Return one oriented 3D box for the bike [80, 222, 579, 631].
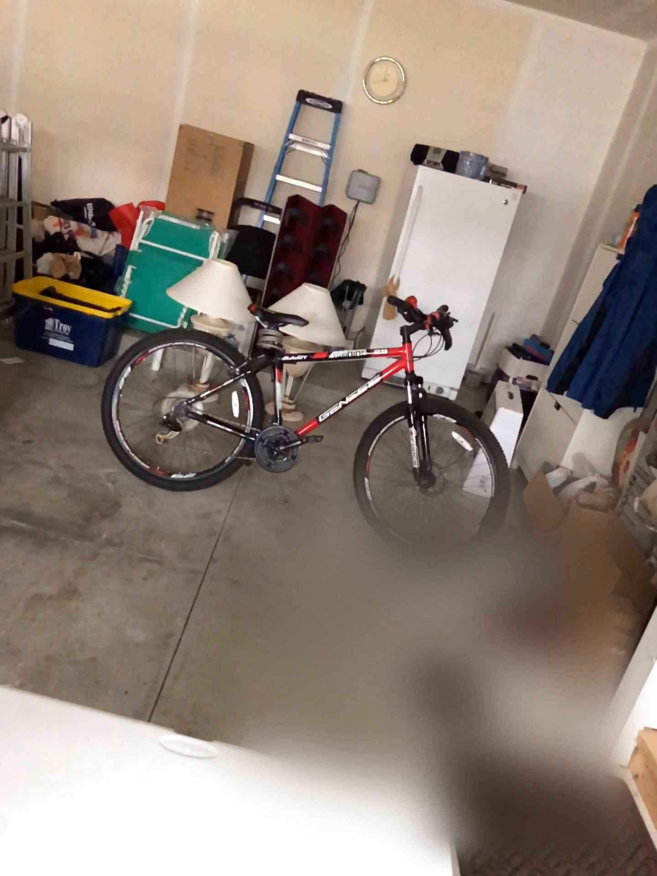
[{"bbox_3d":[-0.088,-0.107,2.945,1.668,1.054,0.591,18,19,5],"label":"bike"}]
